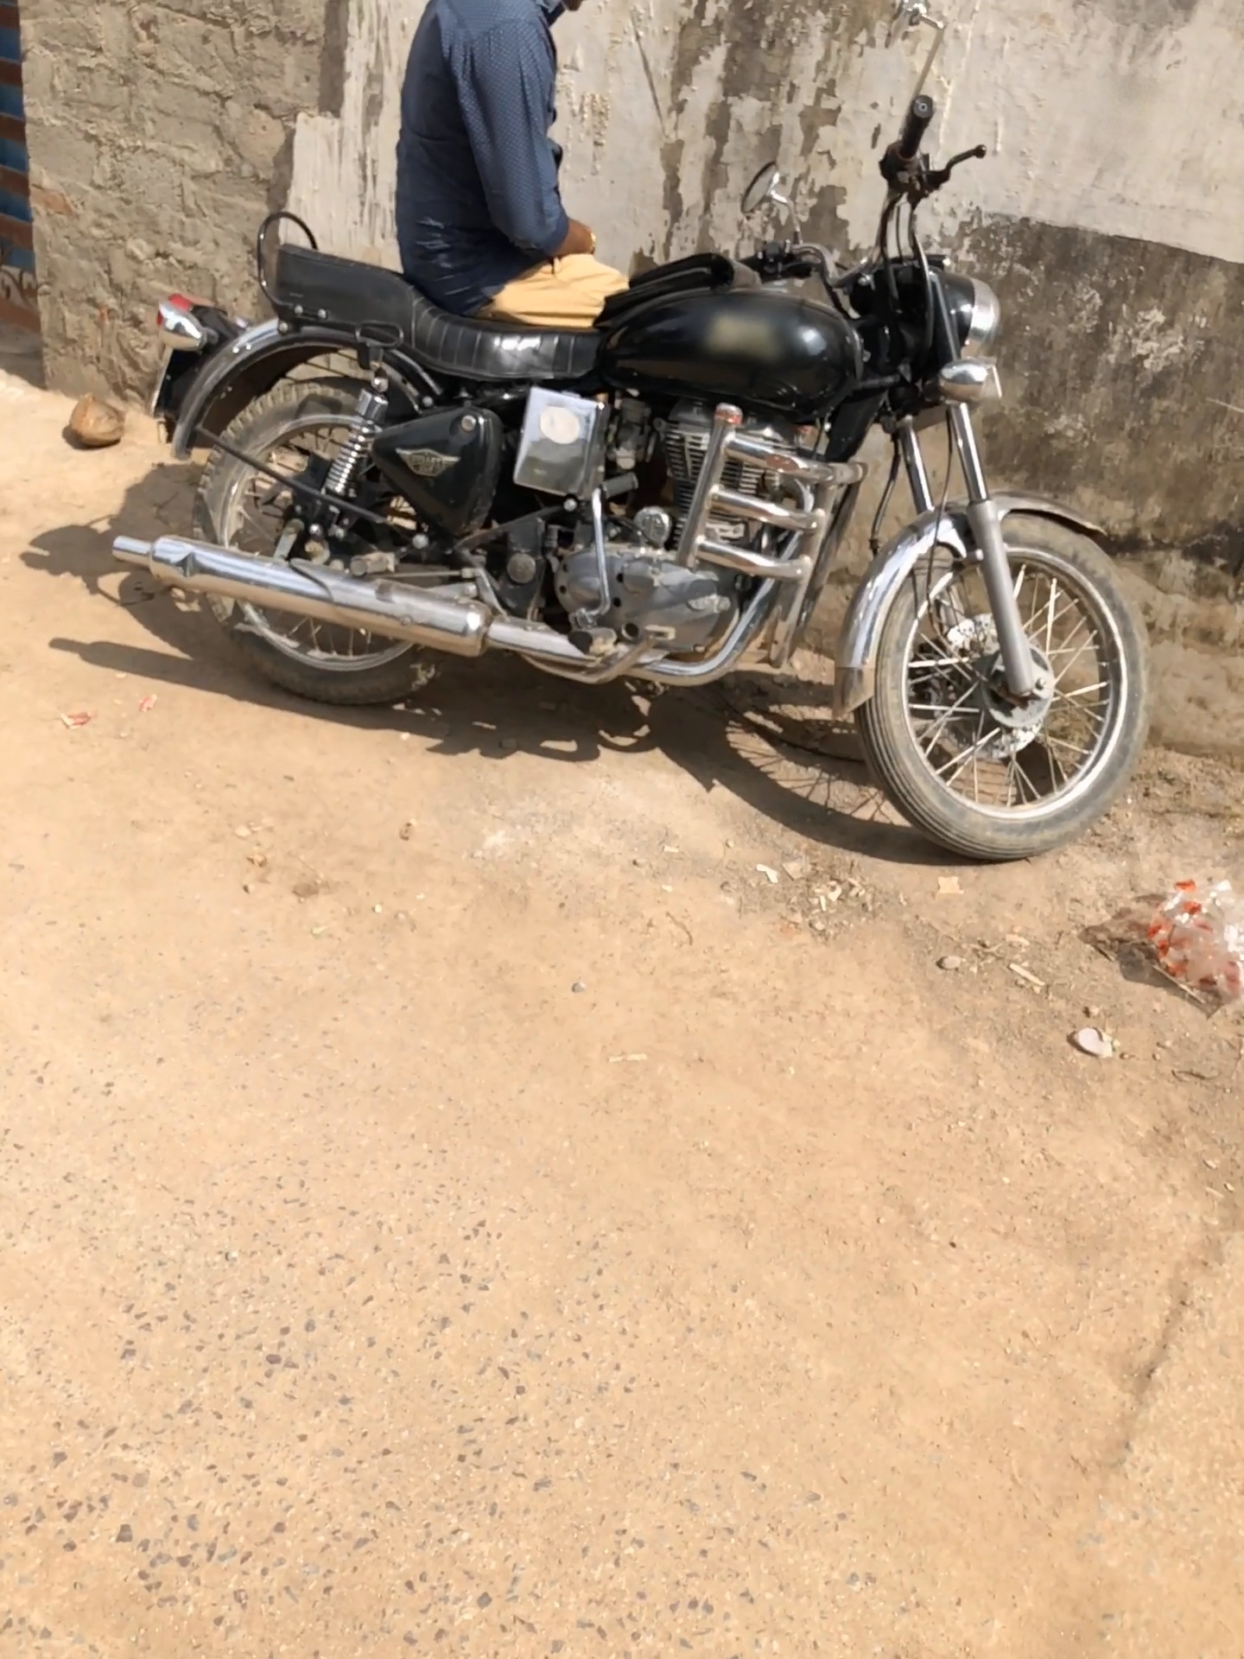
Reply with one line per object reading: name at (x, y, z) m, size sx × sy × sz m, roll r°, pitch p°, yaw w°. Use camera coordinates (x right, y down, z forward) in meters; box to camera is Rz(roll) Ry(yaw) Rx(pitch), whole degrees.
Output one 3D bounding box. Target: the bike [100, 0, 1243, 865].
bike at (0.168, -0.858, 2.726) m, size 1.929 × 1.317 × 0.887 m, roll 11°, pitch 32°, yaw 8°
